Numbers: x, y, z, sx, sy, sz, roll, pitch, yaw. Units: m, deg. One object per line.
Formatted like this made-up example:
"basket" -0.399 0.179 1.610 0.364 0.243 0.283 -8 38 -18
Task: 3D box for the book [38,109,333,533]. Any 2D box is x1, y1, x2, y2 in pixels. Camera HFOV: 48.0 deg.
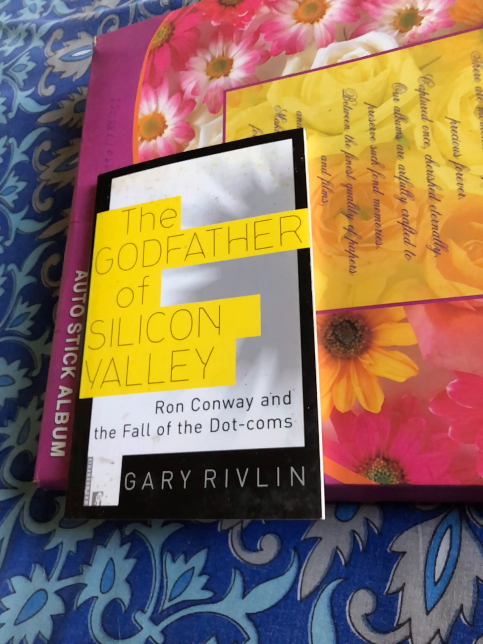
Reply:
"book" -0.032 -0.003 0.300 0.150 0.020 0.220 -6 72 18
